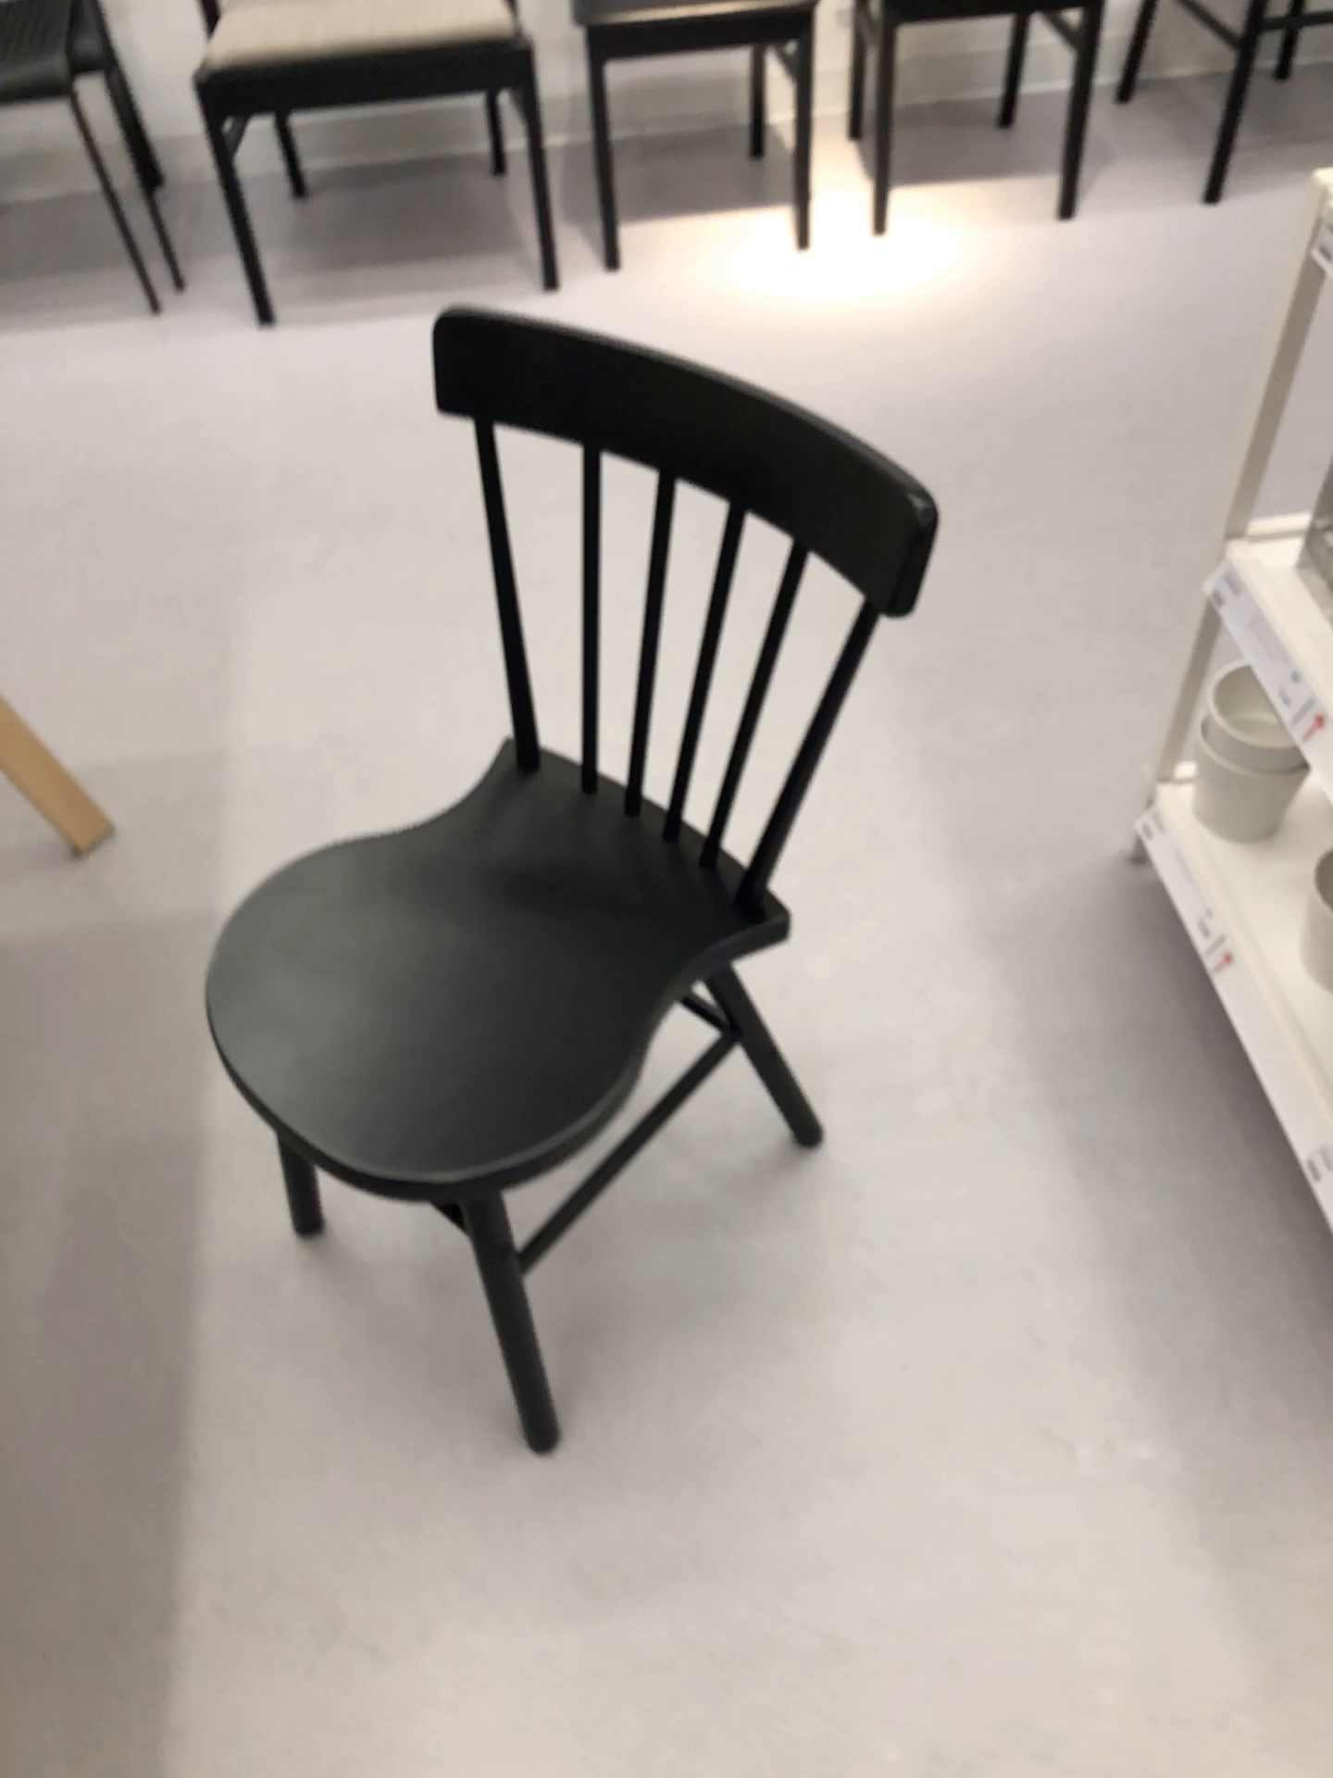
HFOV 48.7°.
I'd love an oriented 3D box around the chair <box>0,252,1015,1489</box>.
[{"bbox_3d":[-0.114,0.002,1.198,0.482,0.716,0.521,33,59,27],"label":"chair"}]
